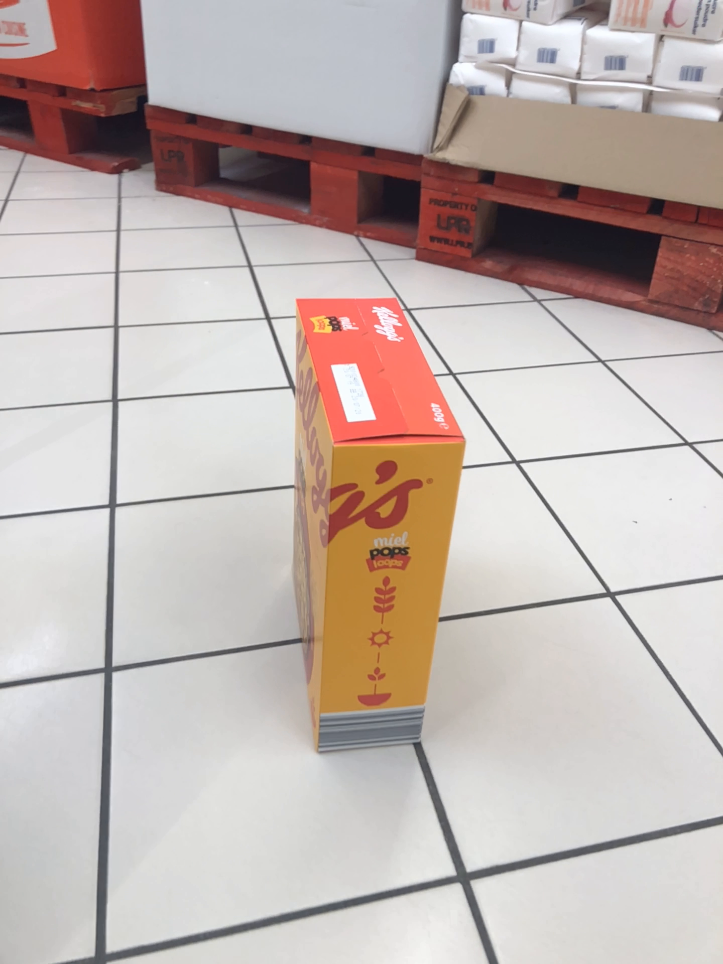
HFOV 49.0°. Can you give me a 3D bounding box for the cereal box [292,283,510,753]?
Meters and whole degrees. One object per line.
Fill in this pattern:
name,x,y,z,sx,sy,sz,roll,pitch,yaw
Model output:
cereal box,0.009,0.019,0.527,0.090,0.239,0.191,-3,35,-9
